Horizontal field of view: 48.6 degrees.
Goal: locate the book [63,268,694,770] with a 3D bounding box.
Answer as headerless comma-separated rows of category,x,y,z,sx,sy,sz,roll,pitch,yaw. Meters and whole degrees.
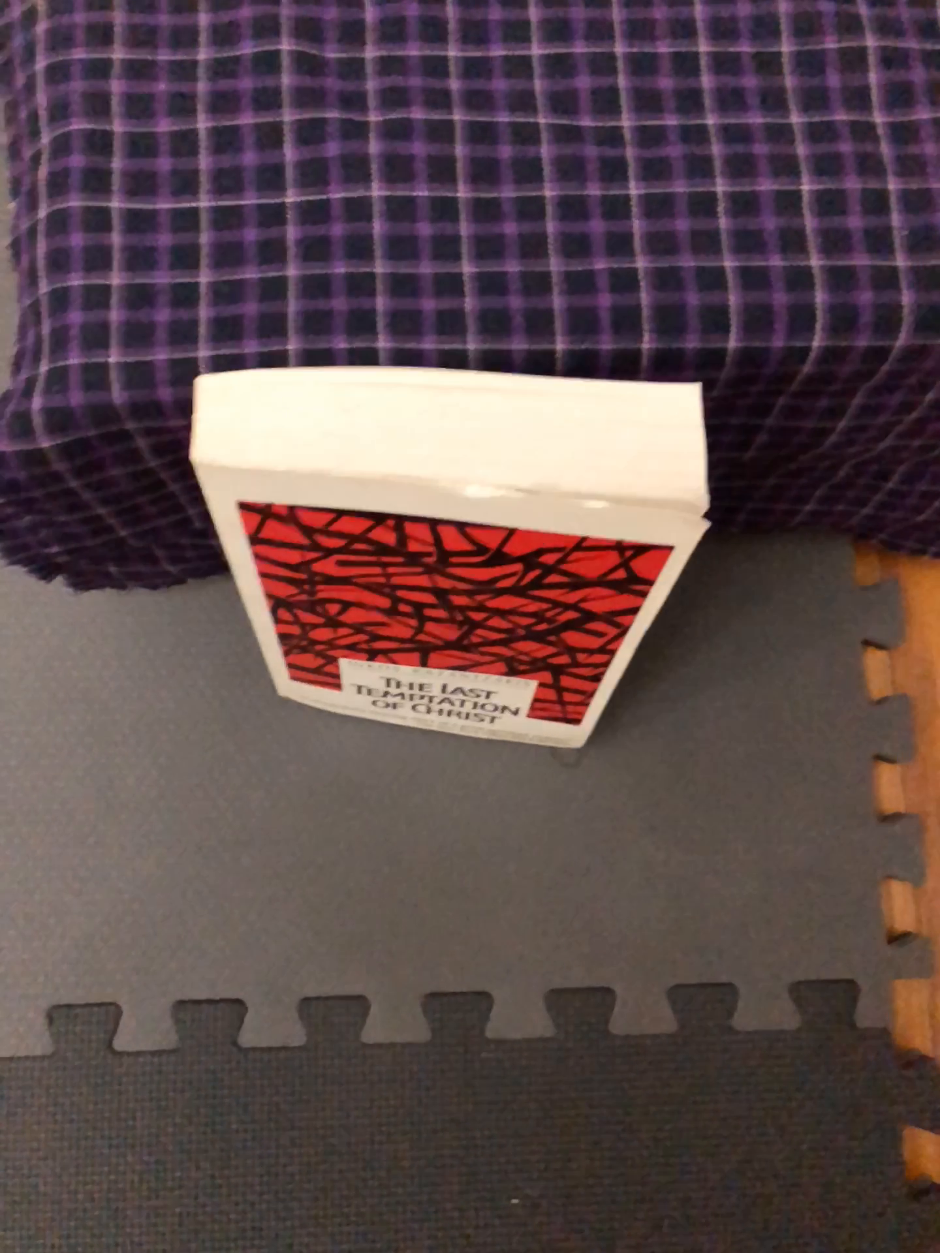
book,-0.023,-0.017,0.358,0.150,0.210,0.050,14,70,5
